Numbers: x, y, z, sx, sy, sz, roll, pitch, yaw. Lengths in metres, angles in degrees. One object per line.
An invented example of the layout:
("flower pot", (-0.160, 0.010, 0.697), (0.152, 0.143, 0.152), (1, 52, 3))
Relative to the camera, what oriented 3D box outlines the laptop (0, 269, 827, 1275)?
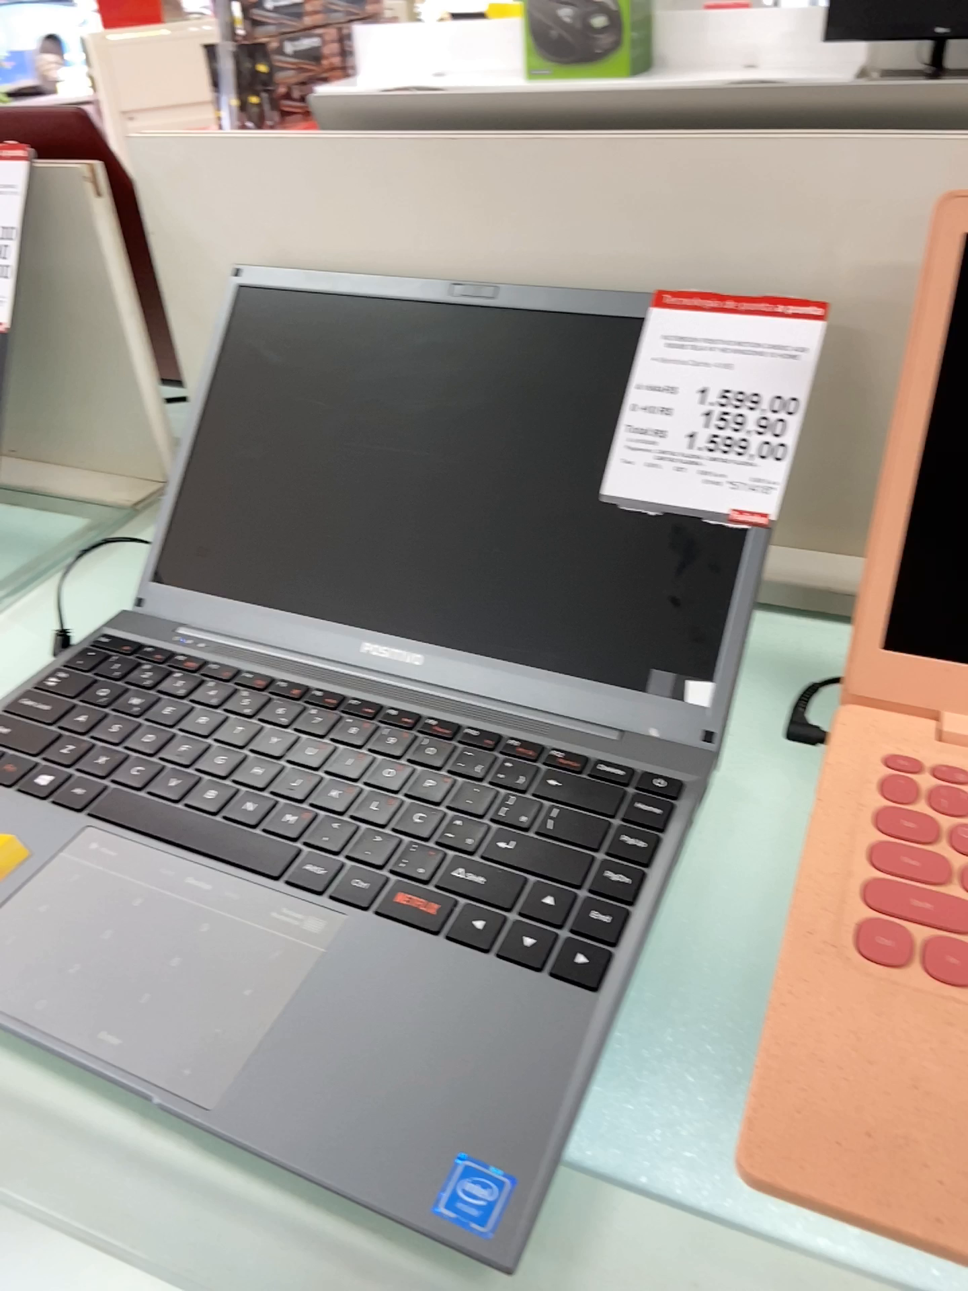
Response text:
("laptop", (-0.070, -0.026, 0.419), (0.333, 0.144, 0.368), (12, 38, 23))
